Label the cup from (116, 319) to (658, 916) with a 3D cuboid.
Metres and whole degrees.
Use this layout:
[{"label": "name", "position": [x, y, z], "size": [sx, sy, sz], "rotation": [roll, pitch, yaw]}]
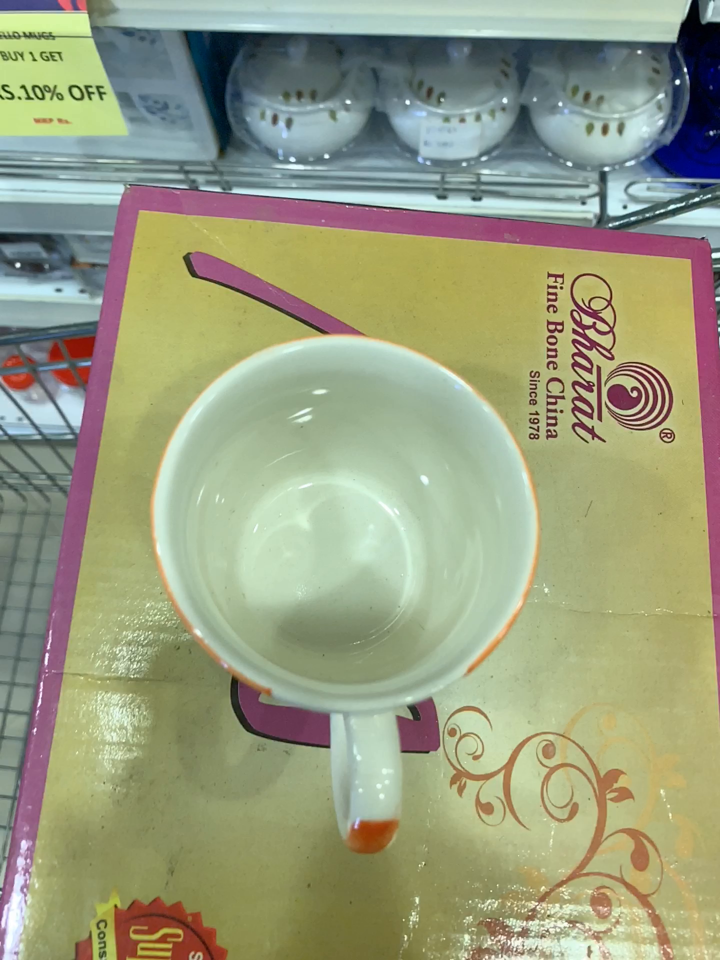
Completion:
[{"label": "cup", "position": [-0.002, 0.026, 0.155], "size": [0.080, 0.070, 0.090], "rotation": [-4, 74, -6]}]
